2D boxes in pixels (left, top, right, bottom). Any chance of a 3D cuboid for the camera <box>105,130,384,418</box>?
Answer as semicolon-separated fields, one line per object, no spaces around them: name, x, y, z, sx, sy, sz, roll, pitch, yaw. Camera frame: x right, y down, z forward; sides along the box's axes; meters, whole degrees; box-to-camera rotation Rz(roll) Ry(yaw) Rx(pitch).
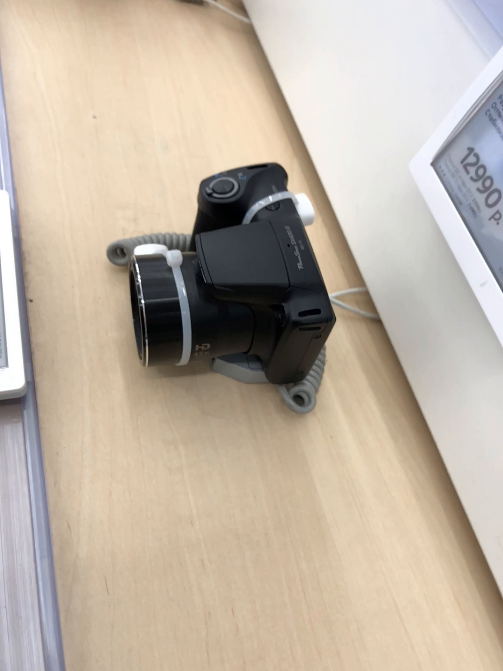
camera;-0.010;-0.032;0.278;0.093;0.063;0.117;-4;61;-28
